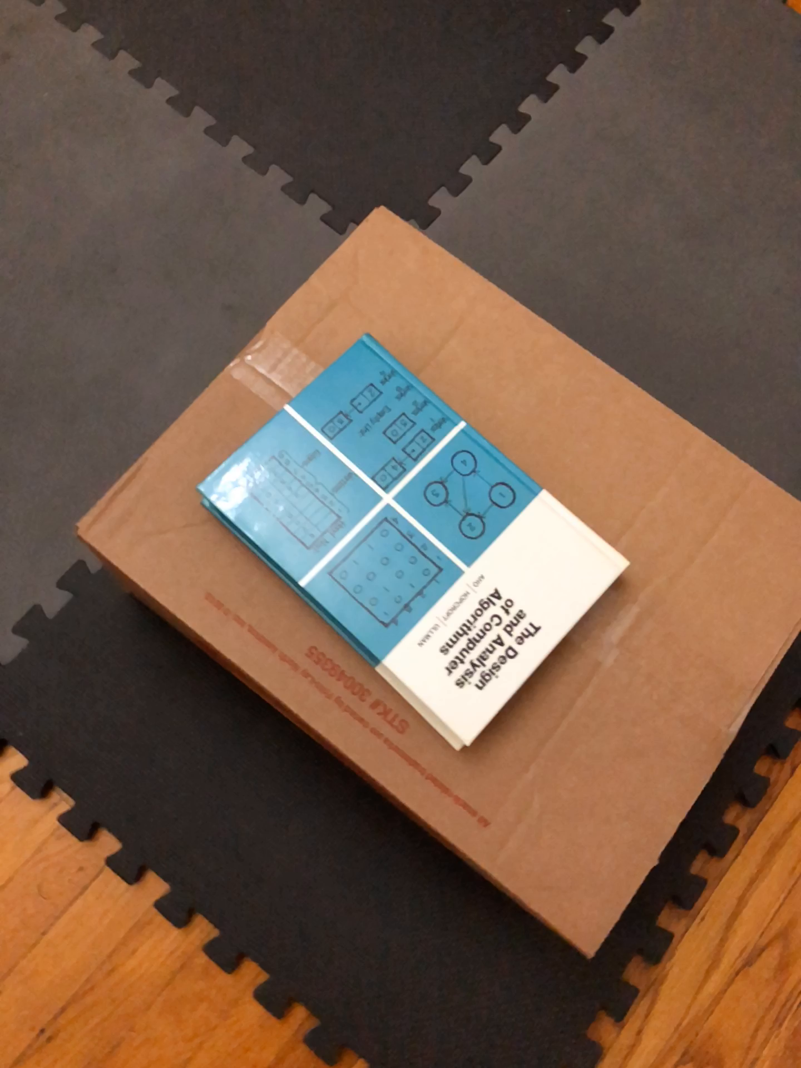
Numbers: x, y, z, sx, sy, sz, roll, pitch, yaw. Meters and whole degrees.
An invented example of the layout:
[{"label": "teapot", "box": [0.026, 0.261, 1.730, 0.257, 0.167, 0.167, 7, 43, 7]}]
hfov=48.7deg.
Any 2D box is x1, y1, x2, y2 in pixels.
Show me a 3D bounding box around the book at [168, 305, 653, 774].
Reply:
[{"label": "book", "box": [0.007, -0.003, 0.599, 0.260, 0.040, 0.190, 43, 75, 8]}]
